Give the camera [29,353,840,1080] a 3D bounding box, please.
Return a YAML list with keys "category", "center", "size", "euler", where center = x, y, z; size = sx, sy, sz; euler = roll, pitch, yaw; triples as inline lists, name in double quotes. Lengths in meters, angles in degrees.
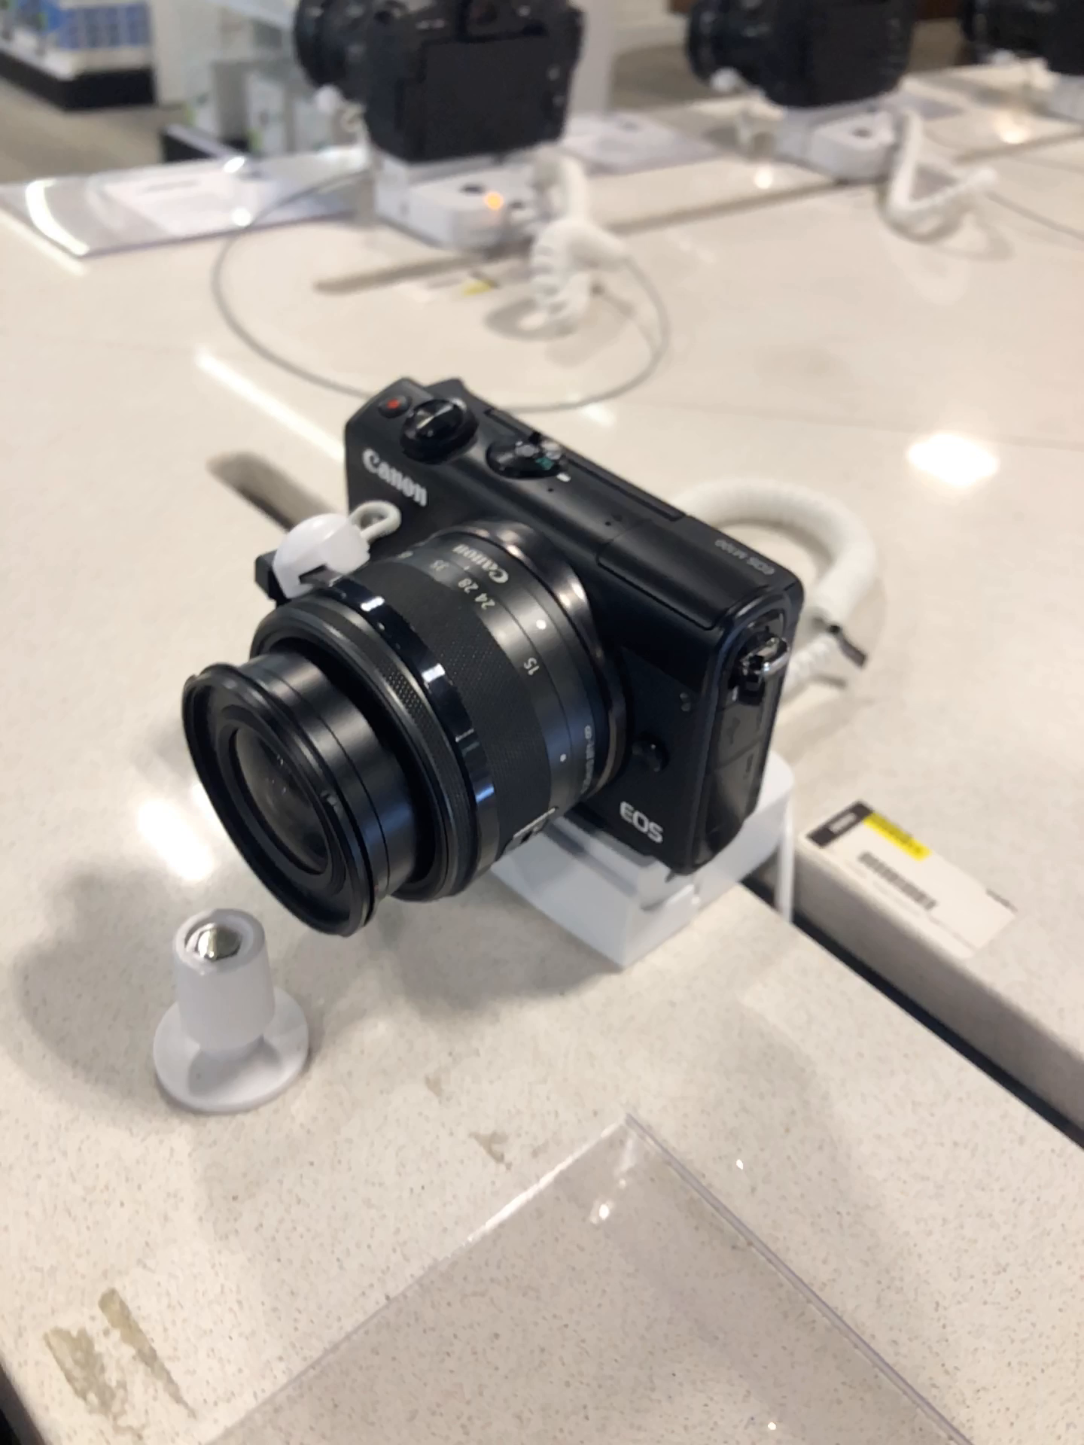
- category: "camera"
  center: [-0.025, -0.013, 0.235]
  size: [0.090, 0.060, 0.121]
  euler: [-26, 48, -34]
